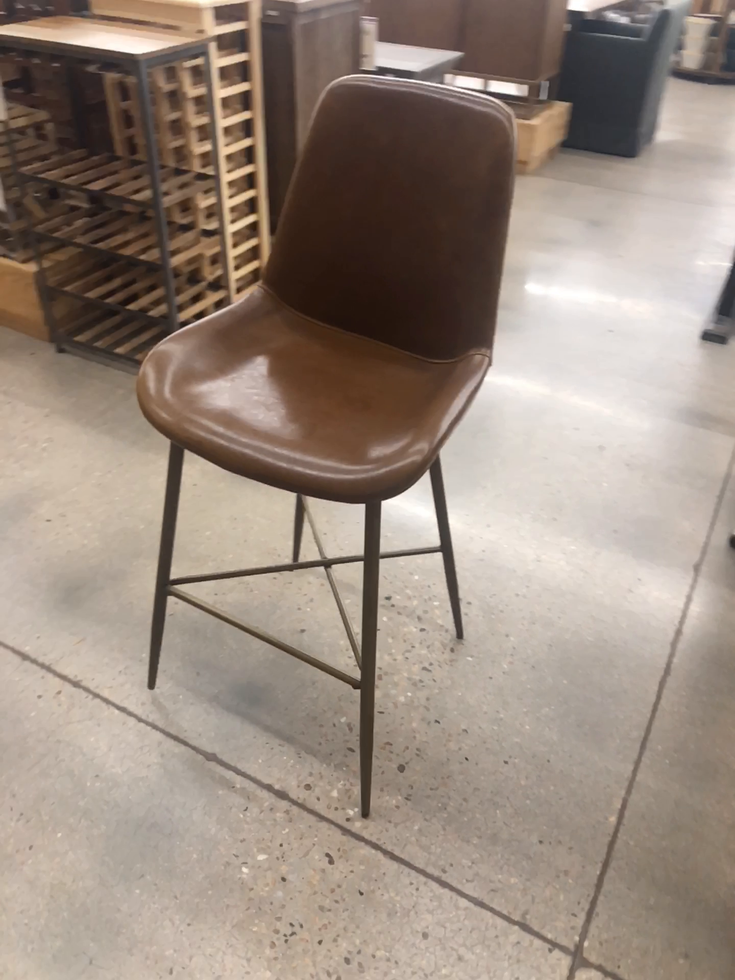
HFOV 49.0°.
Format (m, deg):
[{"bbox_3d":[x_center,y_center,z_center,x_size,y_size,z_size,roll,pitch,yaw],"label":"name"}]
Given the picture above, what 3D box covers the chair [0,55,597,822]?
[{"bbox_3d":[-0.091,-0.095,1.420,0.603,1.054,0.613,21,42,23],"label":"chair"}]
